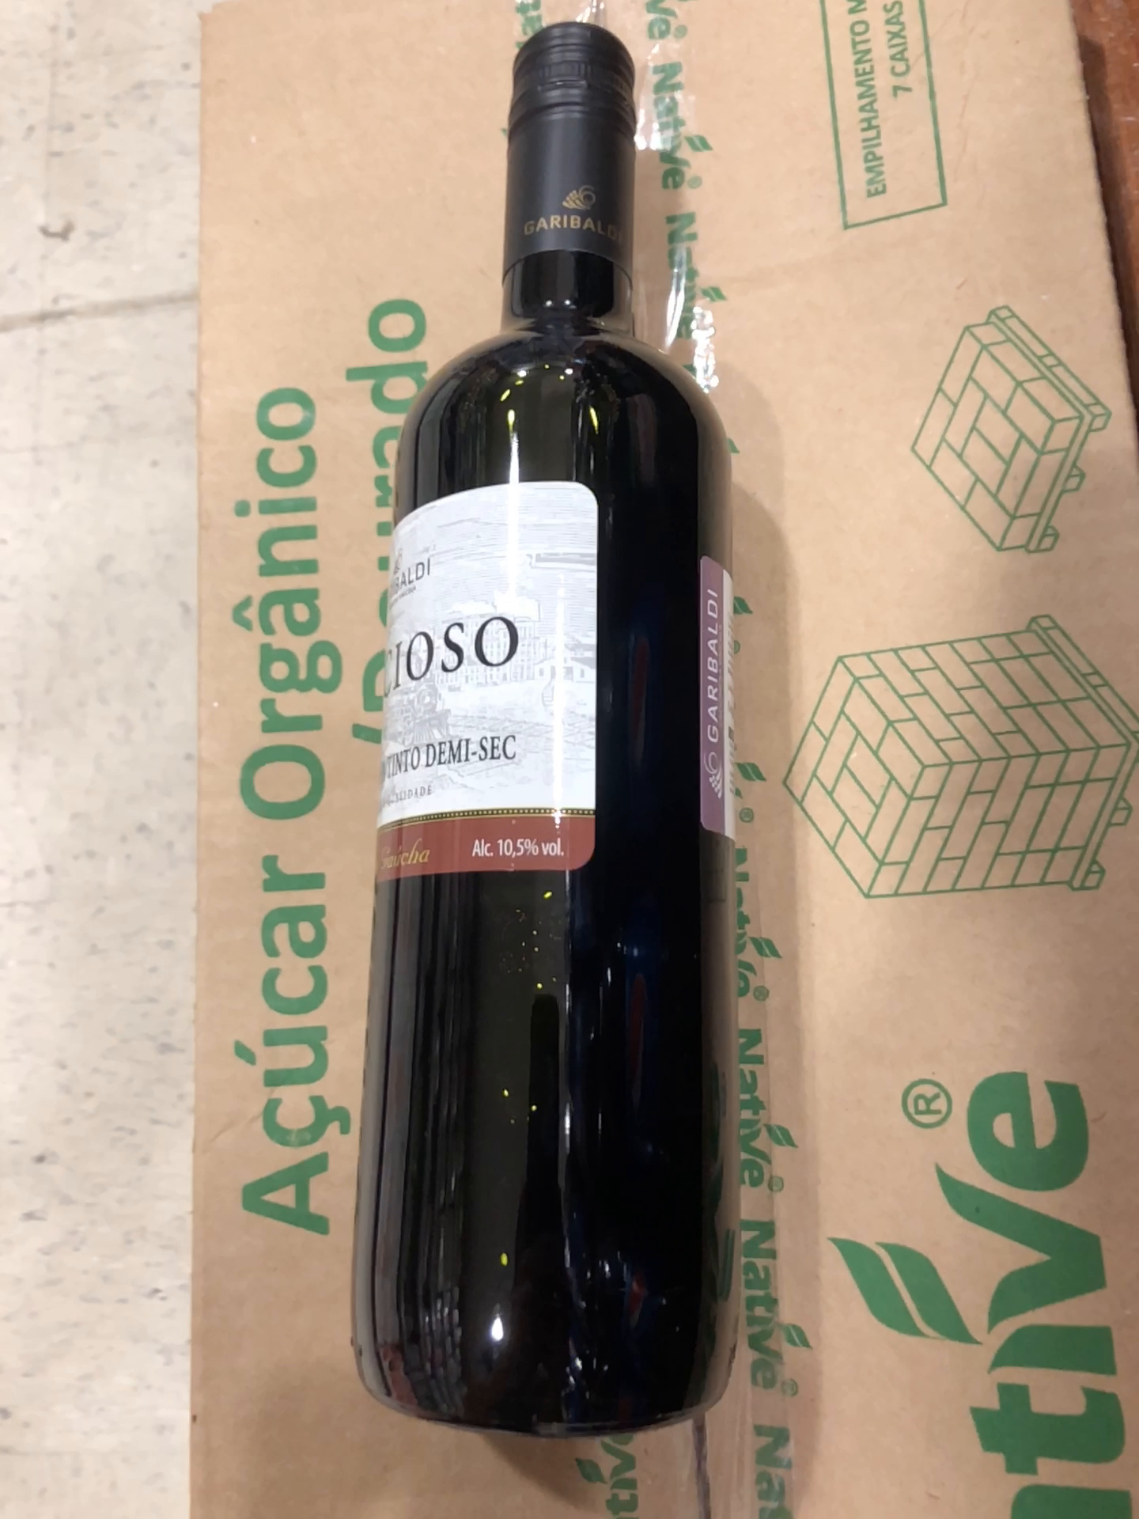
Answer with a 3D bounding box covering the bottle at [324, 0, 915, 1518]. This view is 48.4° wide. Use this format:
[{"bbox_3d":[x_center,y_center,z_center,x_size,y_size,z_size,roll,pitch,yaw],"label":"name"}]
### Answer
[{"bbox_3d":[0.017,-0.039,0.269,0.090,0.080,0.340,0,77,8],"label":"bottle"}]
